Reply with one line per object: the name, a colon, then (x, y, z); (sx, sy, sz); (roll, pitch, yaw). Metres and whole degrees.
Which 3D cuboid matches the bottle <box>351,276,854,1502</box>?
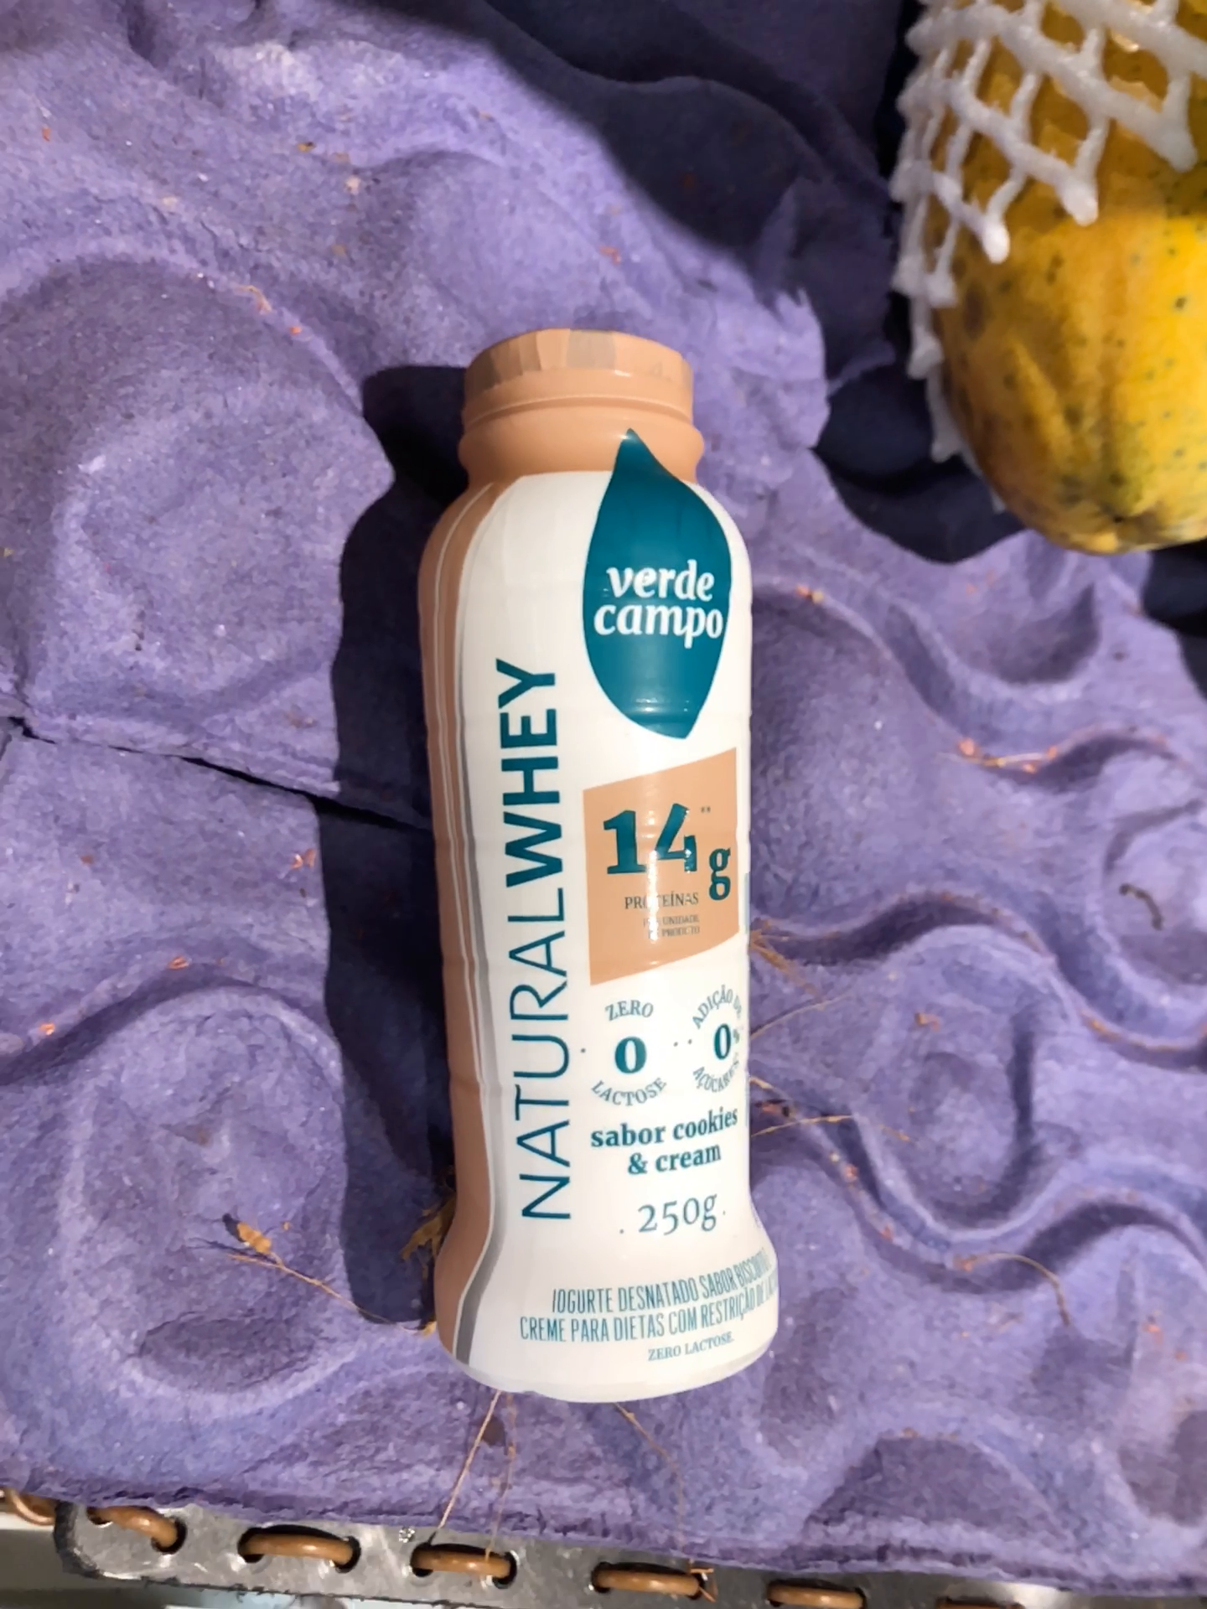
bottle: (-0.001, 0.010, 0.210); (0.060, 0.040, 0.160); (-1, 88, -33)
